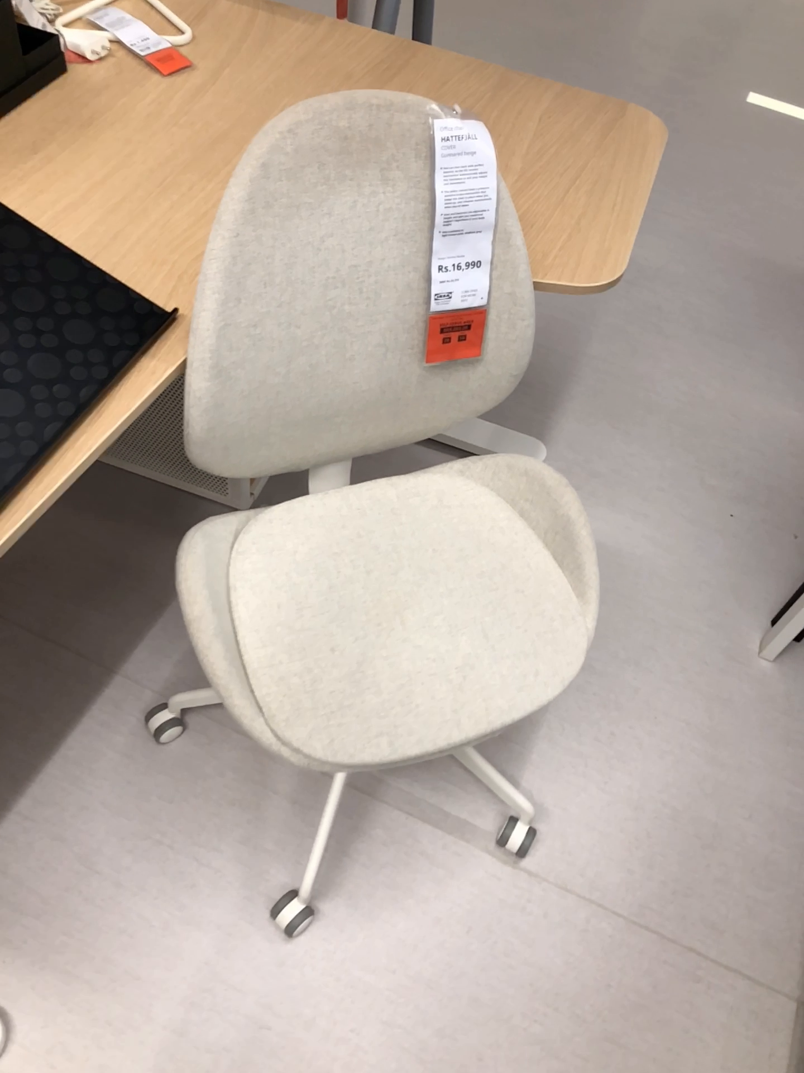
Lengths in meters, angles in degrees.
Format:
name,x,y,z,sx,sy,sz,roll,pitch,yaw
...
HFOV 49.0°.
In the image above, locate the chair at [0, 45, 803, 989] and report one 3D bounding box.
name,x,y,z,sx,sy,sz,roll,pitch,yaw
chair,-0.020,0.040,1.161,0.661,0.994,0.623,-16,57,-19
